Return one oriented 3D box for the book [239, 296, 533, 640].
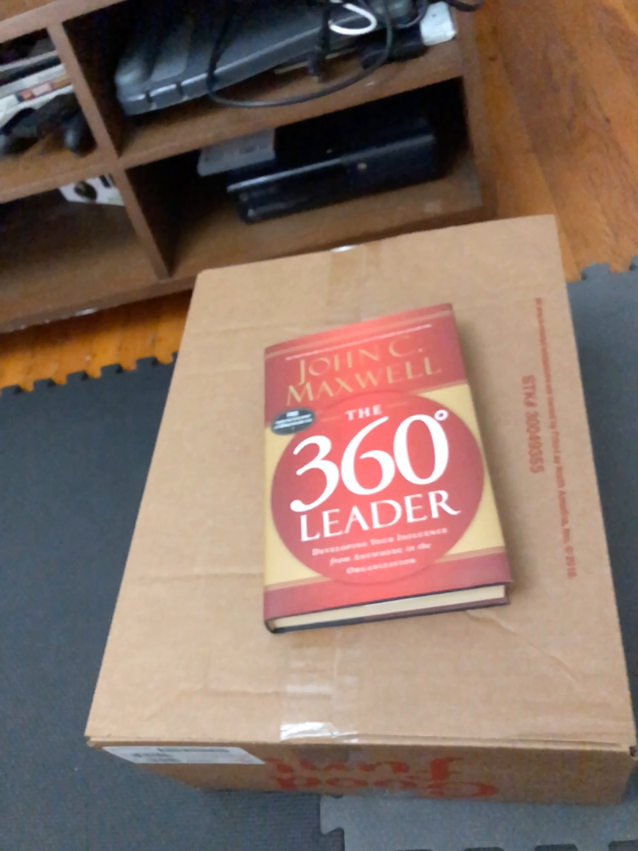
[{"bbox_3d":[0.038,0.021,0.511,0.180,0.030,0.241,-11,53,13],"label":"book"}]
